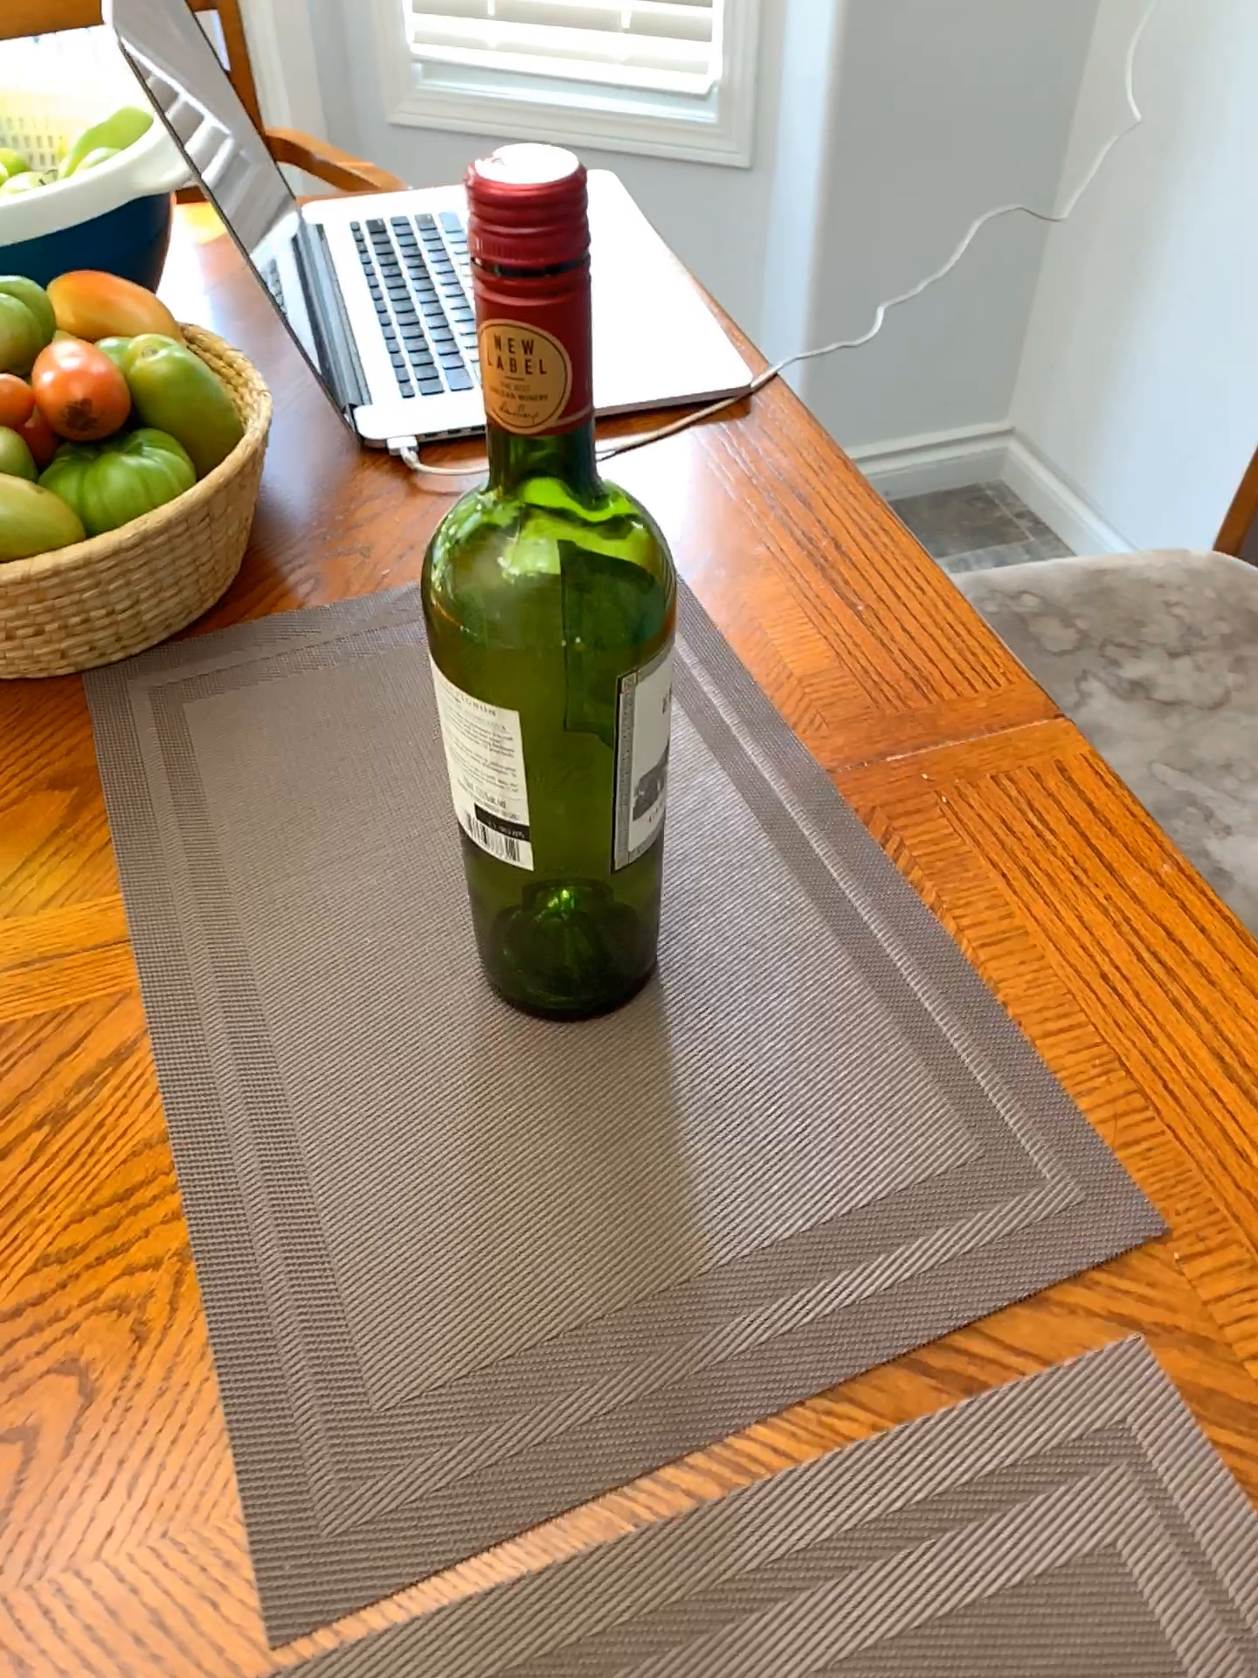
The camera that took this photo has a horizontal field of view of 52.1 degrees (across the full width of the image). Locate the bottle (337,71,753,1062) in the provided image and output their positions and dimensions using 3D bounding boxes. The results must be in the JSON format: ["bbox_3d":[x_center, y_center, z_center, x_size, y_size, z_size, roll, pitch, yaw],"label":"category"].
[{"bbox_3d":[-0.024,-0.061,0.420,0.080,0.307,0.091,-13,47,-12],"label":"bottle"}]
